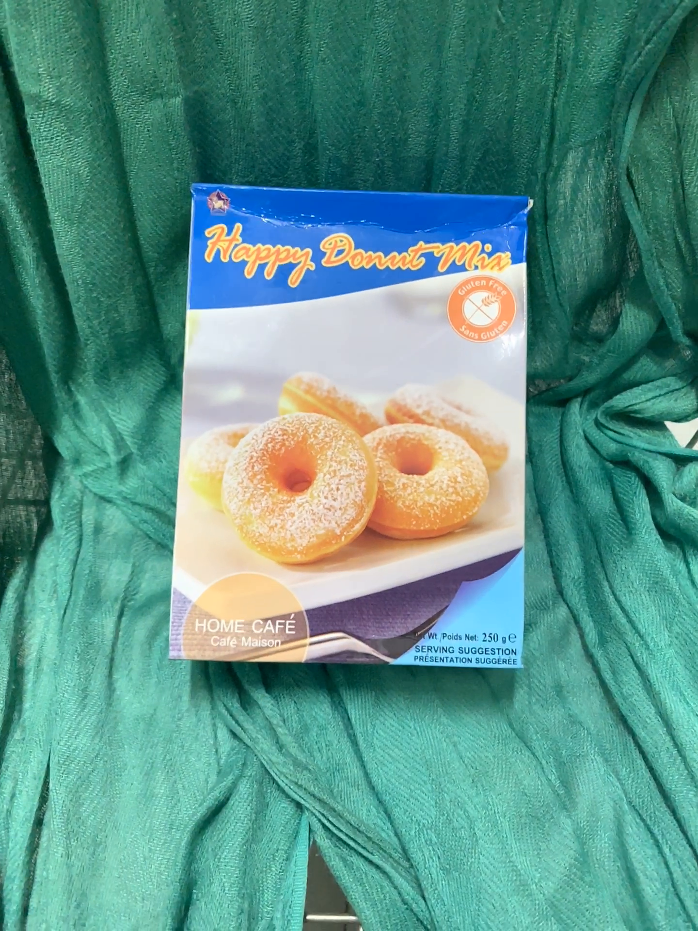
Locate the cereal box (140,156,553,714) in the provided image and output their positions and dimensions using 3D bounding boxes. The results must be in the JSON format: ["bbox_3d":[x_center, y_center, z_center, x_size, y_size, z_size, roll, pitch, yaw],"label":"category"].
[{"bbox_3d":[0.001,-0.010,0.267,0.130,0.060,0.180,2,86,-2],"label":"cereal box"}]
